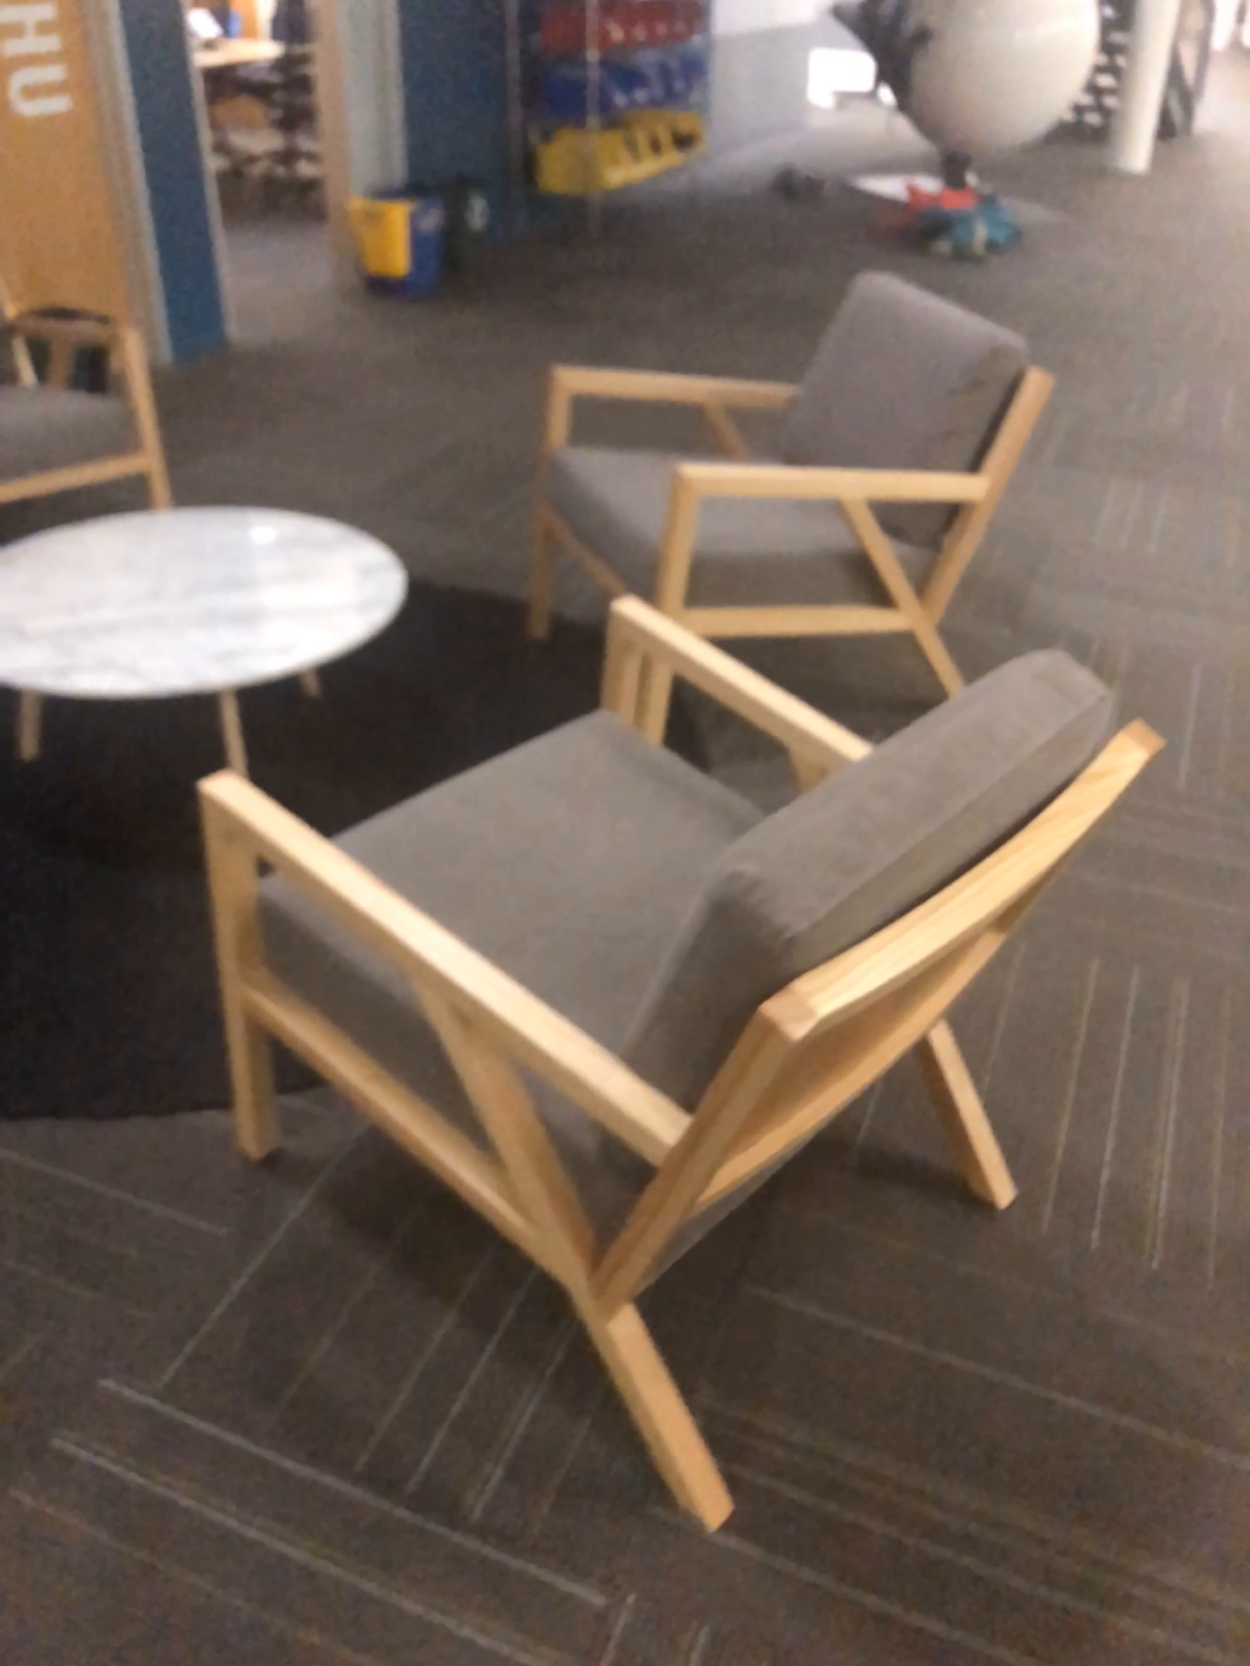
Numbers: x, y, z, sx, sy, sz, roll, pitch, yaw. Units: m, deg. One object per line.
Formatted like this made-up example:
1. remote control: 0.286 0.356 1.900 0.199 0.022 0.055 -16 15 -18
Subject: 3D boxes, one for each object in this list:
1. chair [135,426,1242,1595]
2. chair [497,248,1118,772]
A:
1. chair: 0.043 0.110 1.574 0.802 0.773 0.725 31 43 32
2. chair: 0.293 -0.669 2.763 0.872 0.754 0.724 -7 34 -22
